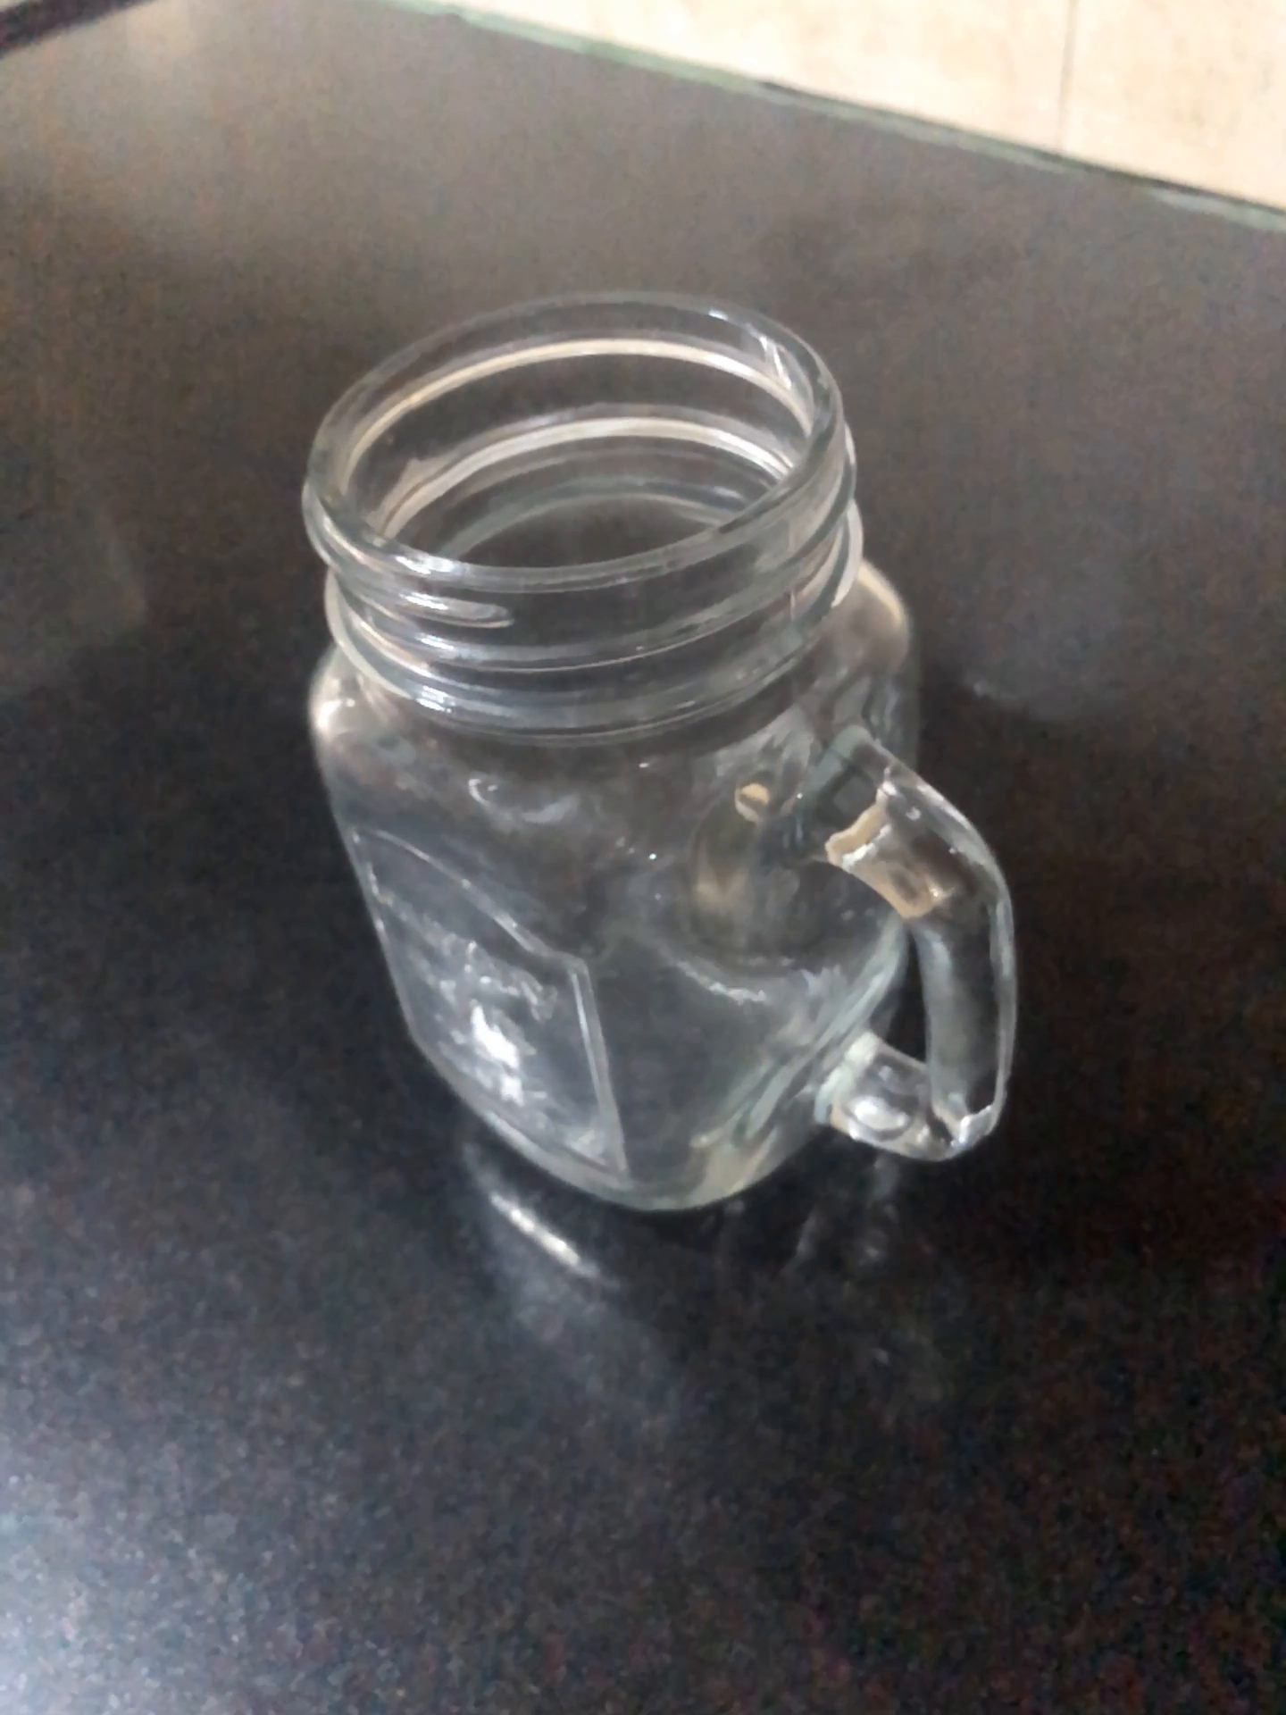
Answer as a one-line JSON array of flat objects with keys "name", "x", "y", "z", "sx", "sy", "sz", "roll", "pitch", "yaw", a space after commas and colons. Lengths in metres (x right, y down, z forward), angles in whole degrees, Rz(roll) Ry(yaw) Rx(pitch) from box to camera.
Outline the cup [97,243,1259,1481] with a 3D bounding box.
[{"name": "cup", "x": 0.007, "y": 0.000, "z": 0.216, "sx": 0.110, "sy": 0.129, "sz": 0.080, "roll": 30, "pitch": 57, "yaw": 31}]
